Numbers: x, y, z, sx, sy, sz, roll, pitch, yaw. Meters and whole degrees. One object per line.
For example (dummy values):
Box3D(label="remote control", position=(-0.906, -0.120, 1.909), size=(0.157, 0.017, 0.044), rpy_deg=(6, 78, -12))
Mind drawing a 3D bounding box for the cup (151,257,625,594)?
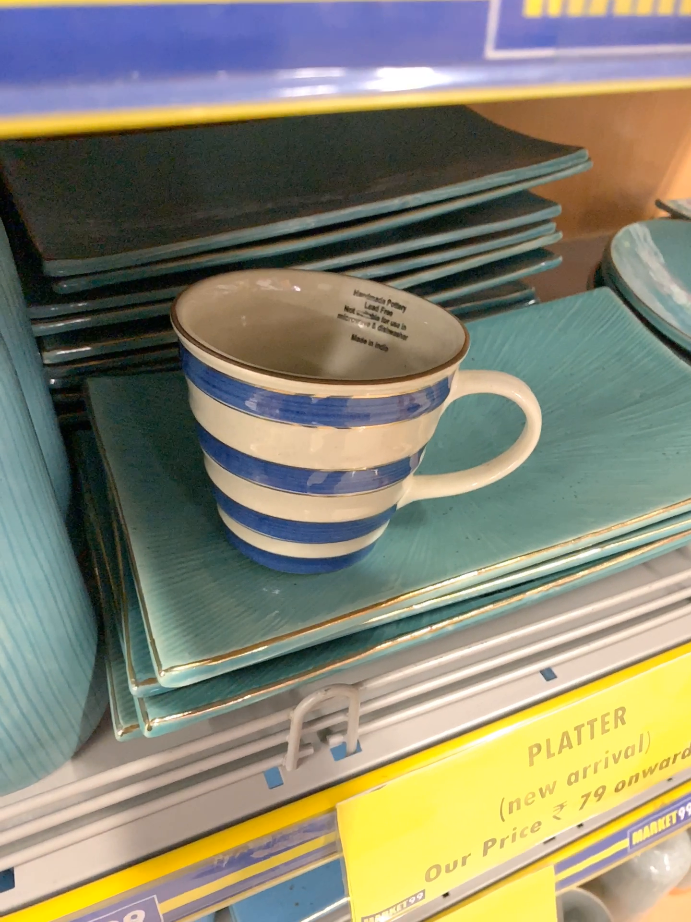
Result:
Box3D(label="cup", position=(0.005, -0.016, 0.268), size=(0.140, 0.080, 0.100), rpy_deg=(1, 33, -11))
